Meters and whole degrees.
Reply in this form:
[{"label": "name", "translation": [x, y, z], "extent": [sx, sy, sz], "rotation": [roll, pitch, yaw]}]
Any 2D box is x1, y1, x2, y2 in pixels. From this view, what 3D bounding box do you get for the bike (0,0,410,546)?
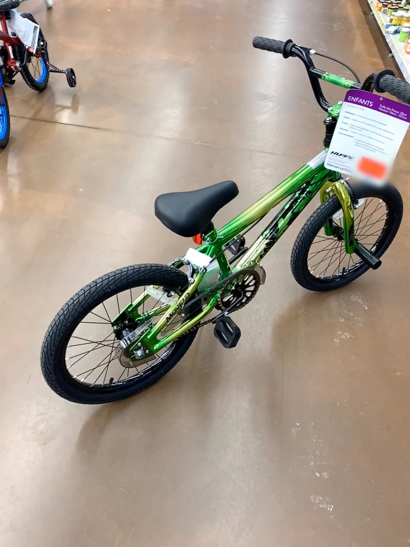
[{"label": "bike", "translation": [0.275, -0.119, 1.164], "extent": [1.407, 1.034, 0.719], "rotation": [-24, 51, -19]}]
